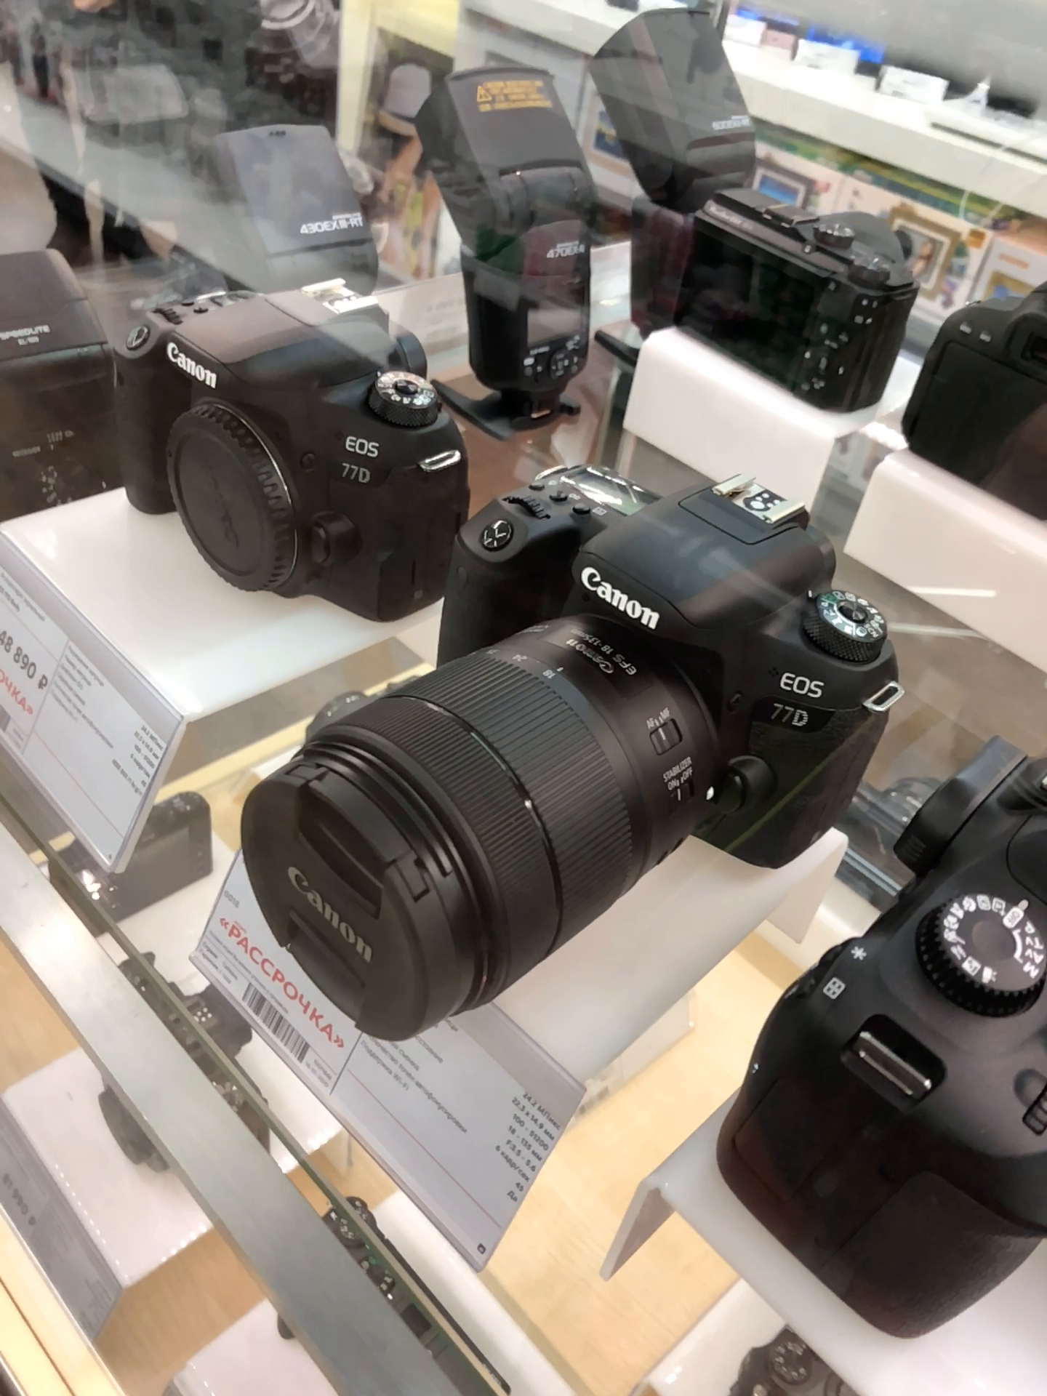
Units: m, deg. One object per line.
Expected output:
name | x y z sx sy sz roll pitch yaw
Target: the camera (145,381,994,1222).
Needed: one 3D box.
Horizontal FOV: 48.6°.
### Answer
camera | 0.011 0.012 0.321 0.132 0.119 0.168 36 46 28
